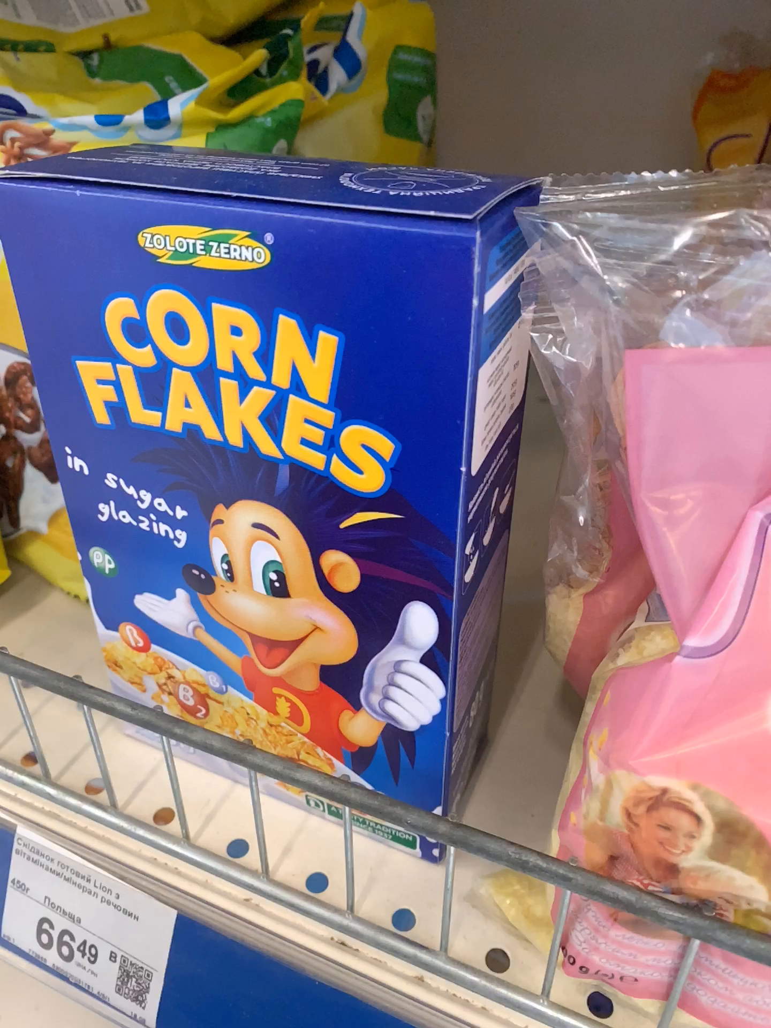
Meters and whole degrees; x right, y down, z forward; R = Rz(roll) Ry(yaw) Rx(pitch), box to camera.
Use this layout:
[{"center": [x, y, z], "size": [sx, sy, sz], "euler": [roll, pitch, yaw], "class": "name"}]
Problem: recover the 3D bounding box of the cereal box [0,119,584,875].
[{"center": [-0.031, -0.004, 0.201], "size": [0.130, 0.159, 0.050], "euler": [14, 36, 21], "class": "cereal box"}]
